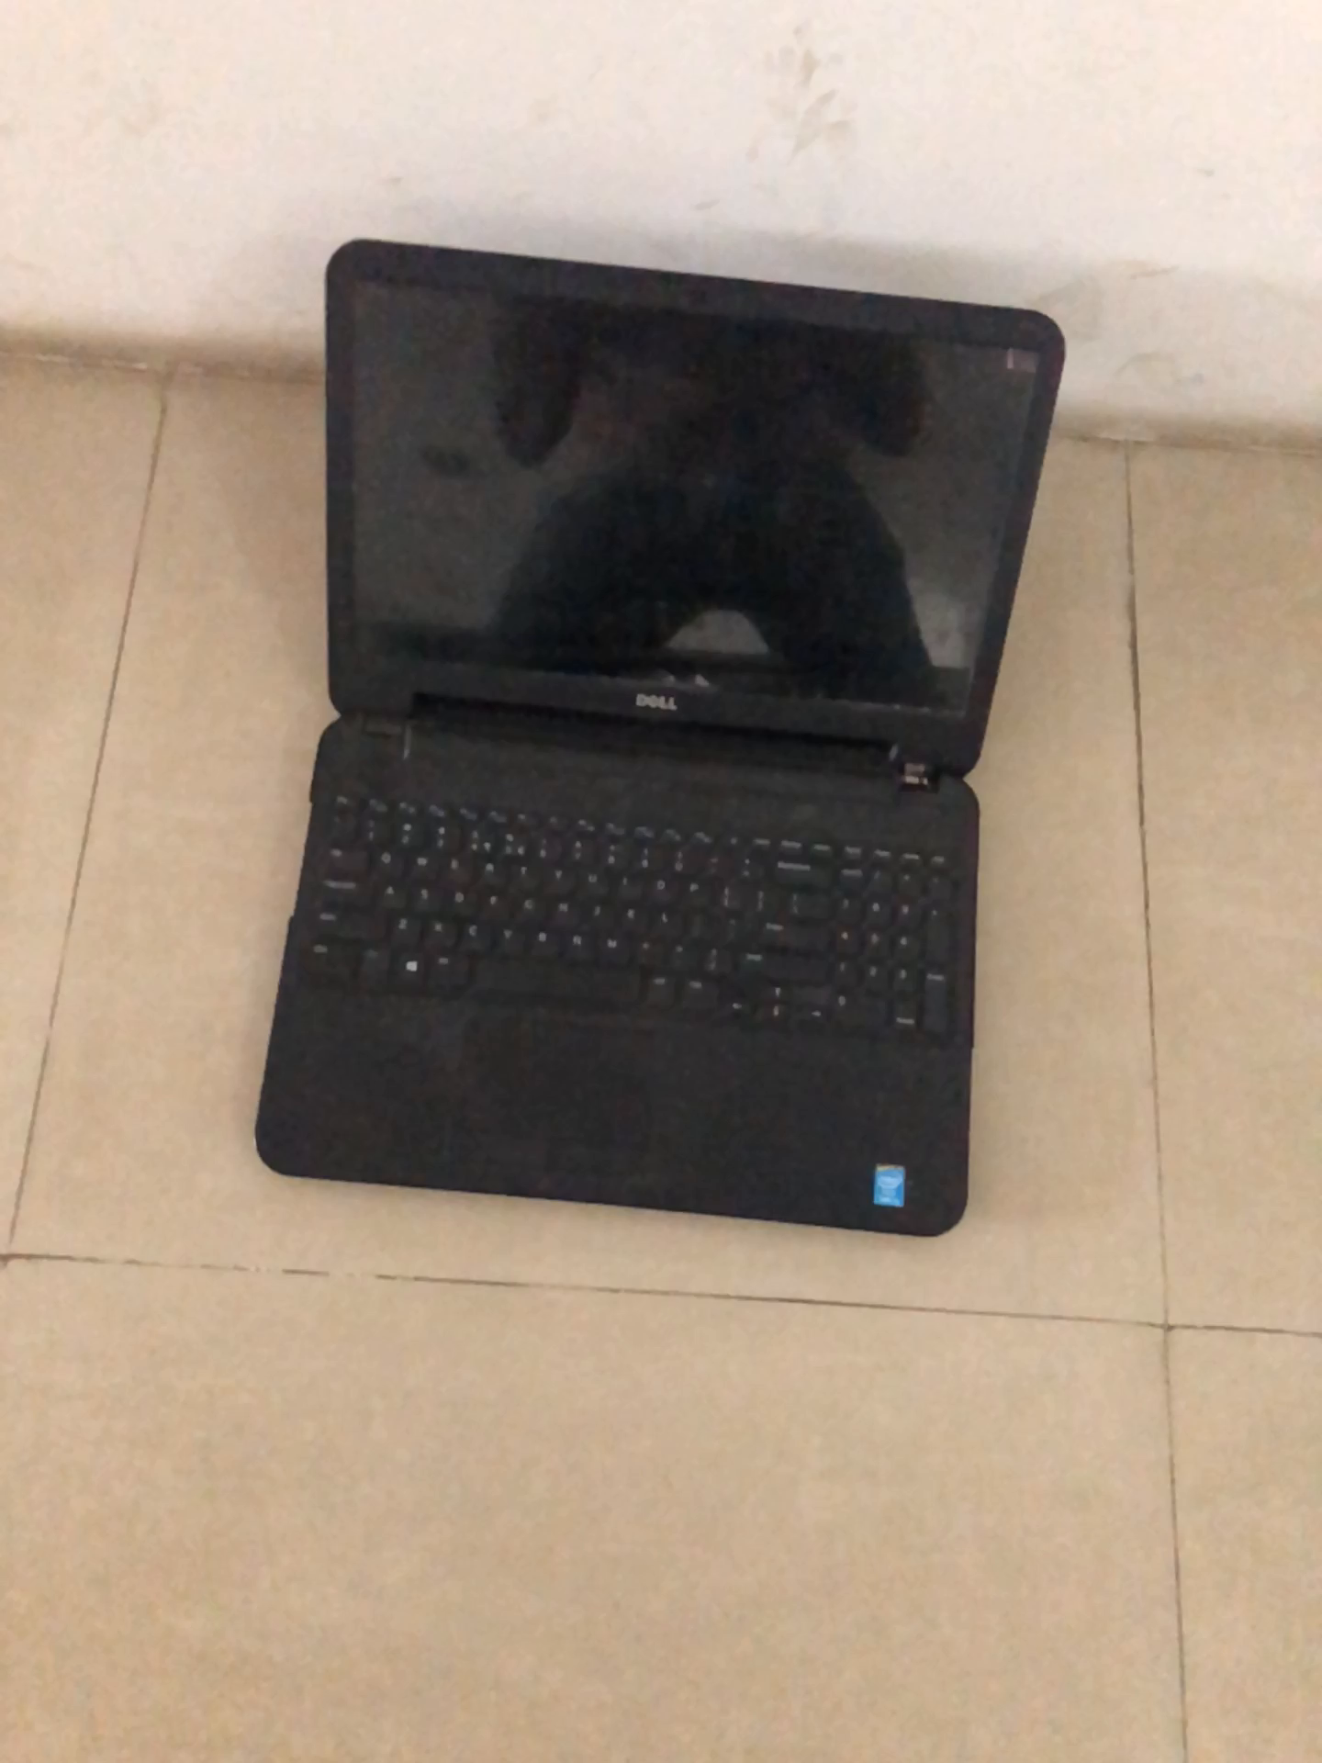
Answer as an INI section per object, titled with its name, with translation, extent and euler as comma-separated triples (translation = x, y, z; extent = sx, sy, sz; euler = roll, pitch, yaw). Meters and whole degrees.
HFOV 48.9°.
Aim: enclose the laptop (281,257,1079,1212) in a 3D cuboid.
[laptop]
translation = 0.019, -0.064, 0.722
extent = 0.322, 0.166, 0.409
euler = 5, 73, -3
